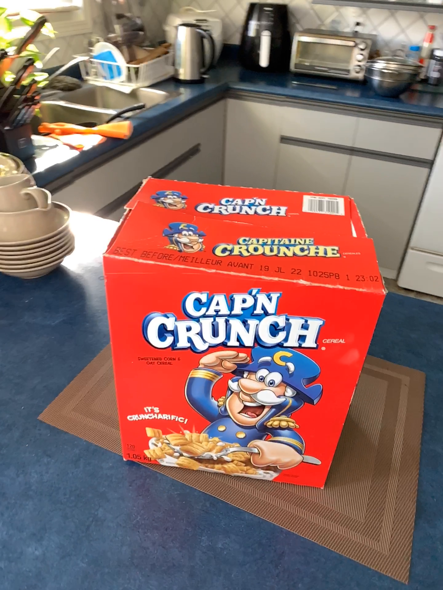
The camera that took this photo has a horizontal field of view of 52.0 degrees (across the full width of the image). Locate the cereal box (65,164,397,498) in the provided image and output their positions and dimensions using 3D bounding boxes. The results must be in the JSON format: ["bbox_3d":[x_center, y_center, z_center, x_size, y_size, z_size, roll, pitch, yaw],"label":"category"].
[{"bbox_3d":[0.012,0.038,0.537,0.270,0.297,0.212,6,35,5],"label":"cereal box"}]
